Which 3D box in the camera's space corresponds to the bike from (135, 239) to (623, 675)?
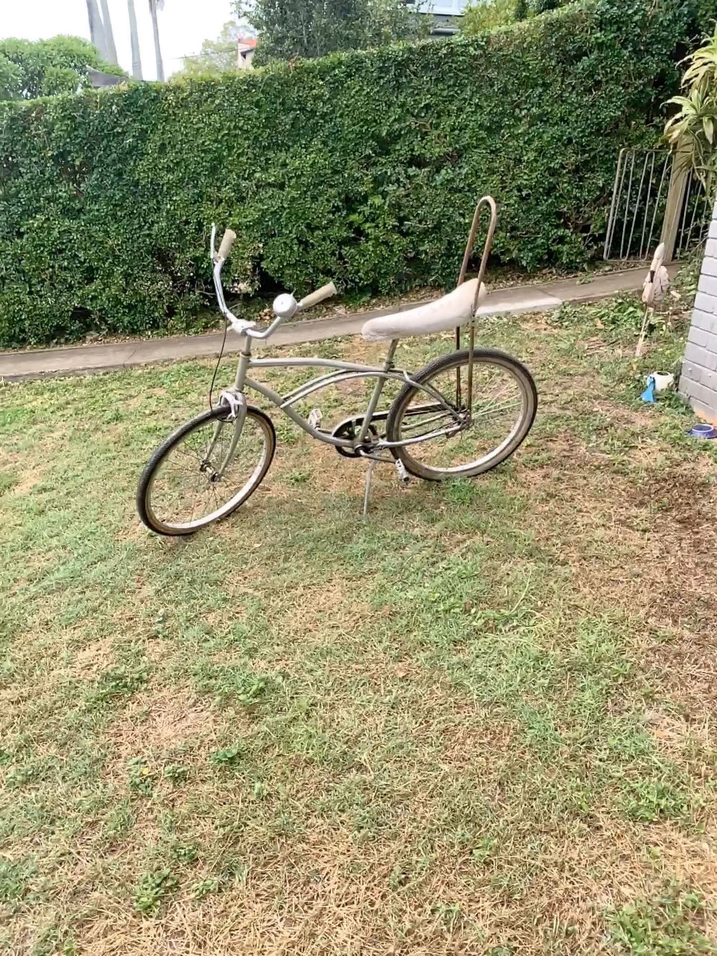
[{"bbox_3d":[-0.011,-0.180,2.777,1.599,0.991,0.804,-13,24,-13],"label":"bike"}]
